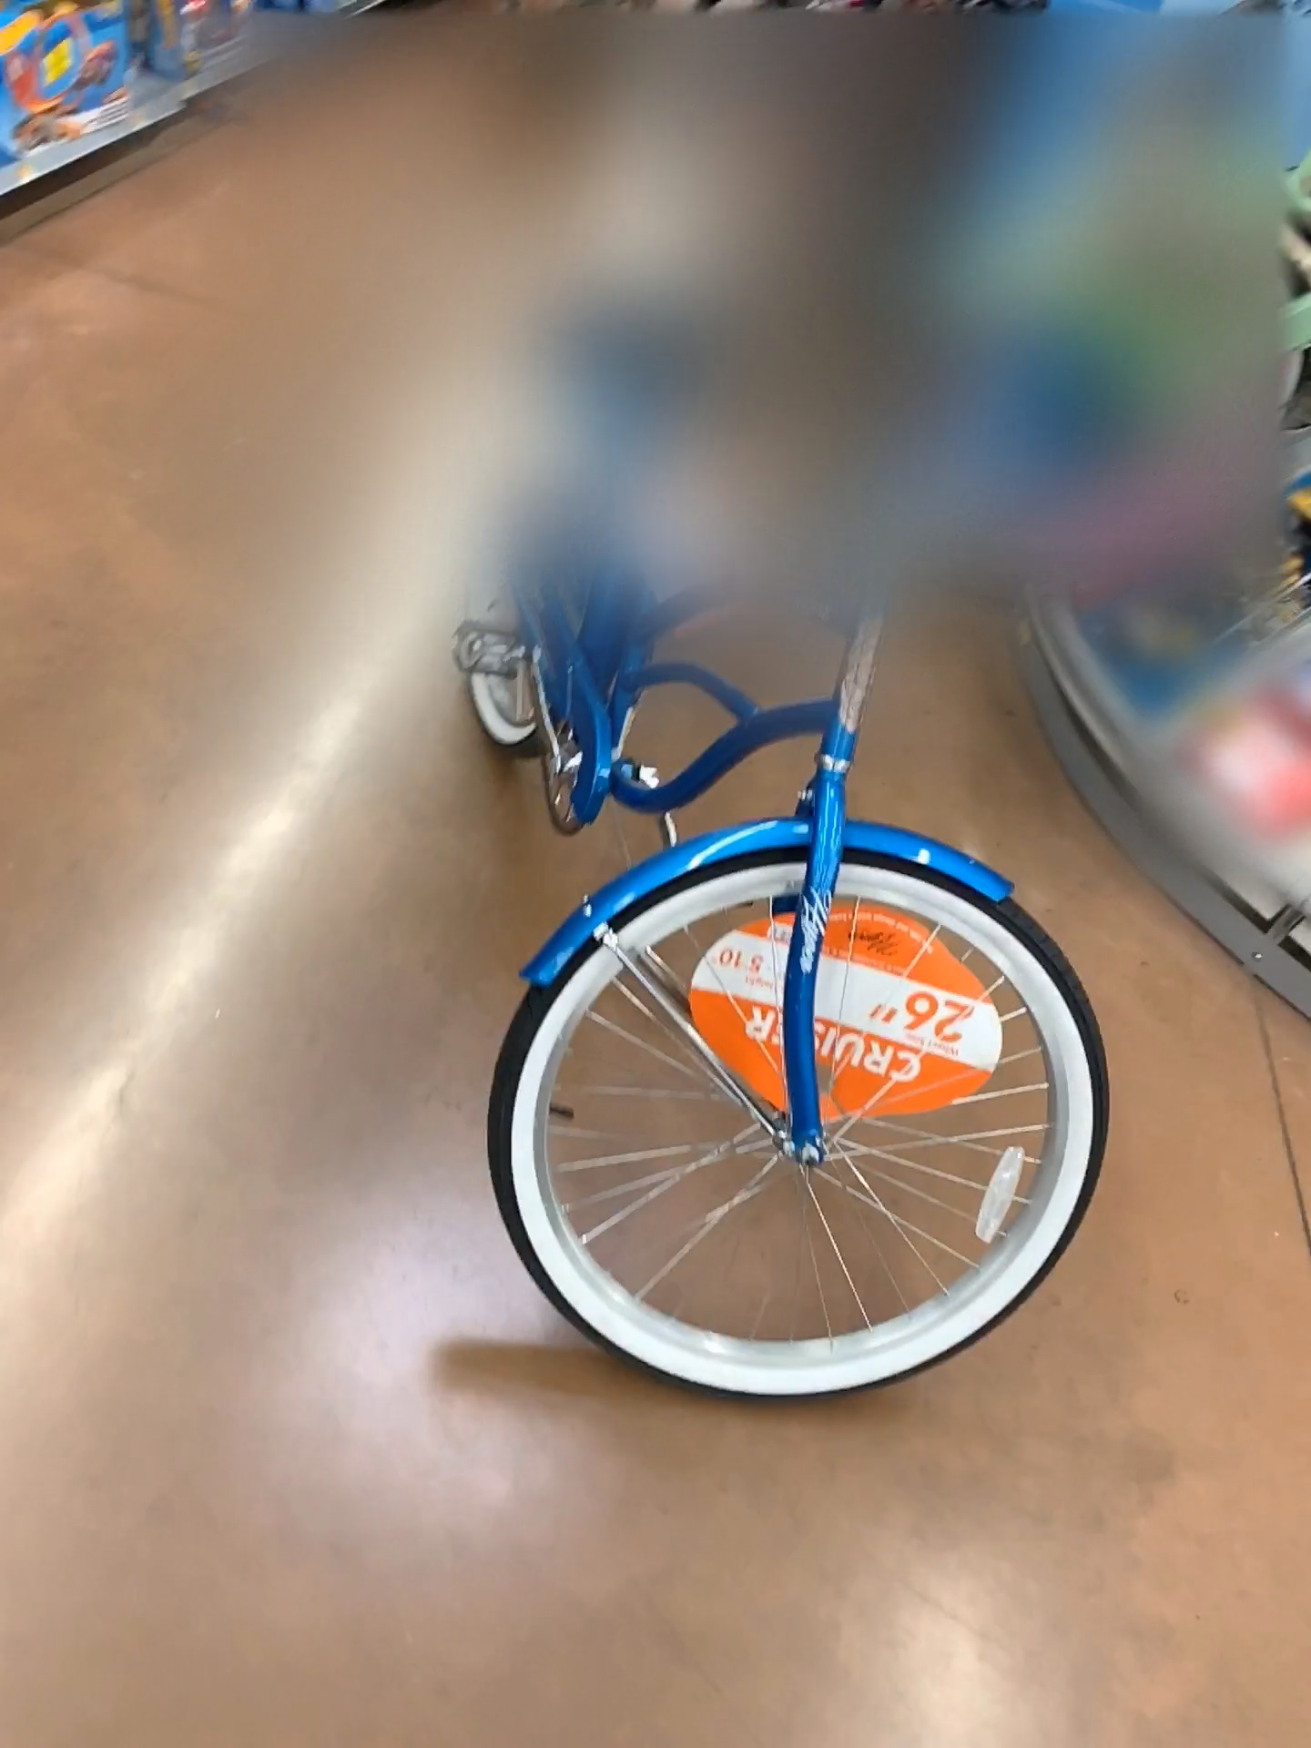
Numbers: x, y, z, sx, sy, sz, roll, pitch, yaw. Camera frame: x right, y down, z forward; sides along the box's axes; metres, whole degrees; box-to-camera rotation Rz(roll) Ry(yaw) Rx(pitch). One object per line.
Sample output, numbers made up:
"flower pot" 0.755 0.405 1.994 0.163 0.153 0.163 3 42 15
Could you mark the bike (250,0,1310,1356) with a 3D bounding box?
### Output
"bike" 0.185 -0.433 1.723 0.874 1.208 1.534 -10 49 -28
